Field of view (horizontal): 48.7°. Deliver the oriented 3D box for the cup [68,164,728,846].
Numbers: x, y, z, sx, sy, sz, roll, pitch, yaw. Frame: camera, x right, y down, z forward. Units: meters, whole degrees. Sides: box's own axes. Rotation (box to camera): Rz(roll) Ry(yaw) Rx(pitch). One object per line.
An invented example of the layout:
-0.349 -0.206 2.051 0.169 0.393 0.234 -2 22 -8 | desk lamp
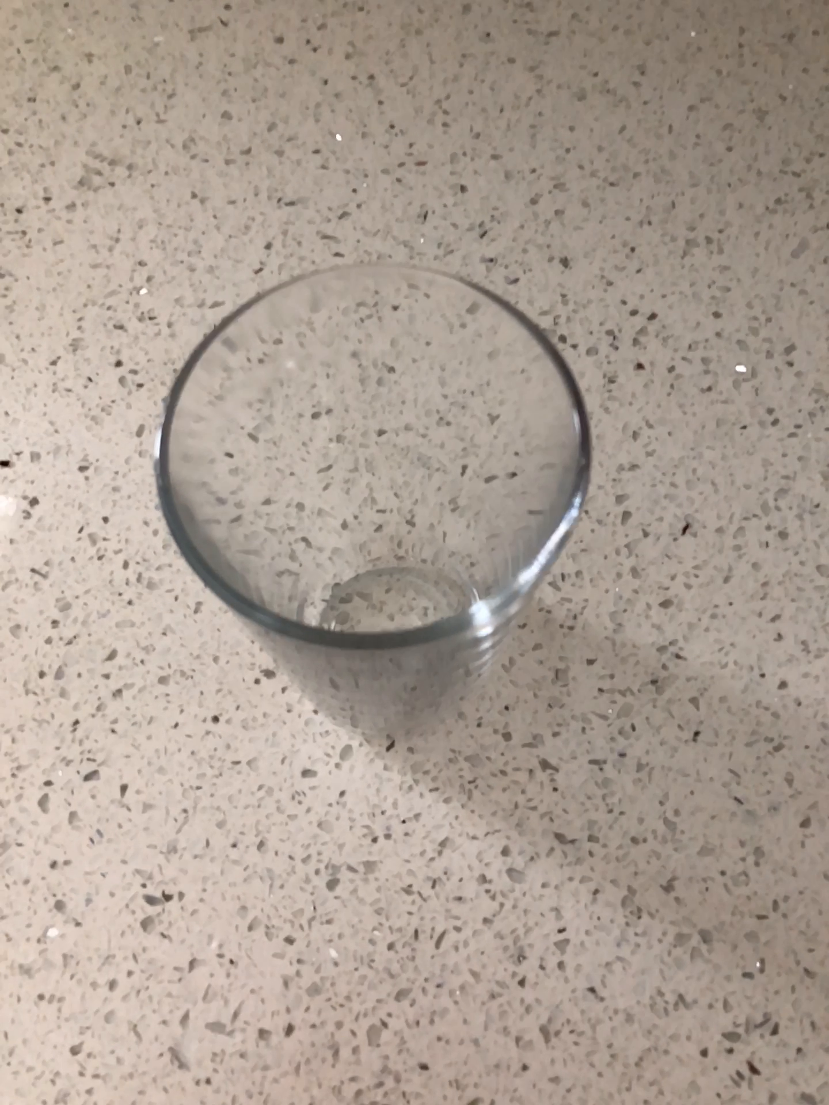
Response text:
-0.005 0.002 0.196 0.074 0.114 0.080 0 67 1 | cup
